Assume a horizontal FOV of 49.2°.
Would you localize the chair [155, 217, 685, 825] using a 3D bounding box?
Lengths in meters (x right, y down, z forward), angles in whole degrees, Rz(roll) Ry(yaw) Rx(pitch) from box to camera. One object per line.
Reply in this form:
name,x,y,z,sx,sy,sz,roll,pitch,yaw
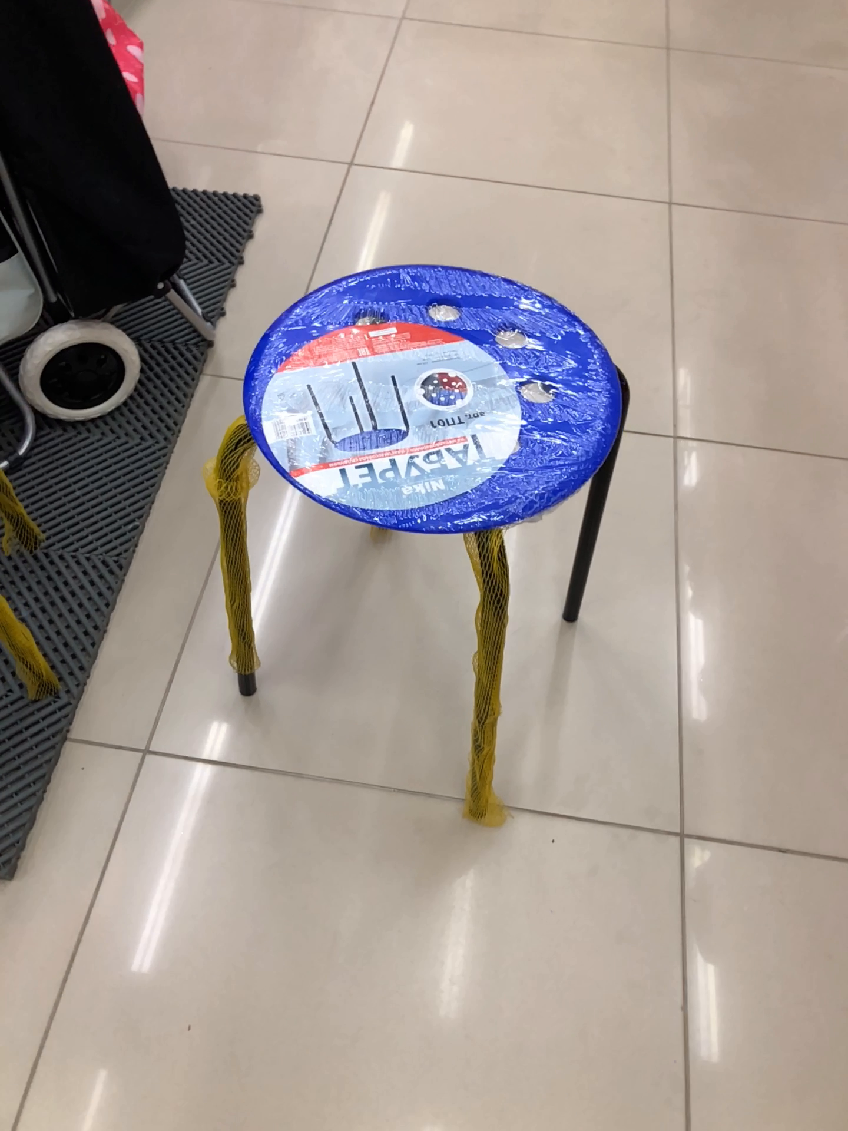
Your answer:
chair,0.002,-0.030,0.930,0.324,0.426,0.322,24,56,14
